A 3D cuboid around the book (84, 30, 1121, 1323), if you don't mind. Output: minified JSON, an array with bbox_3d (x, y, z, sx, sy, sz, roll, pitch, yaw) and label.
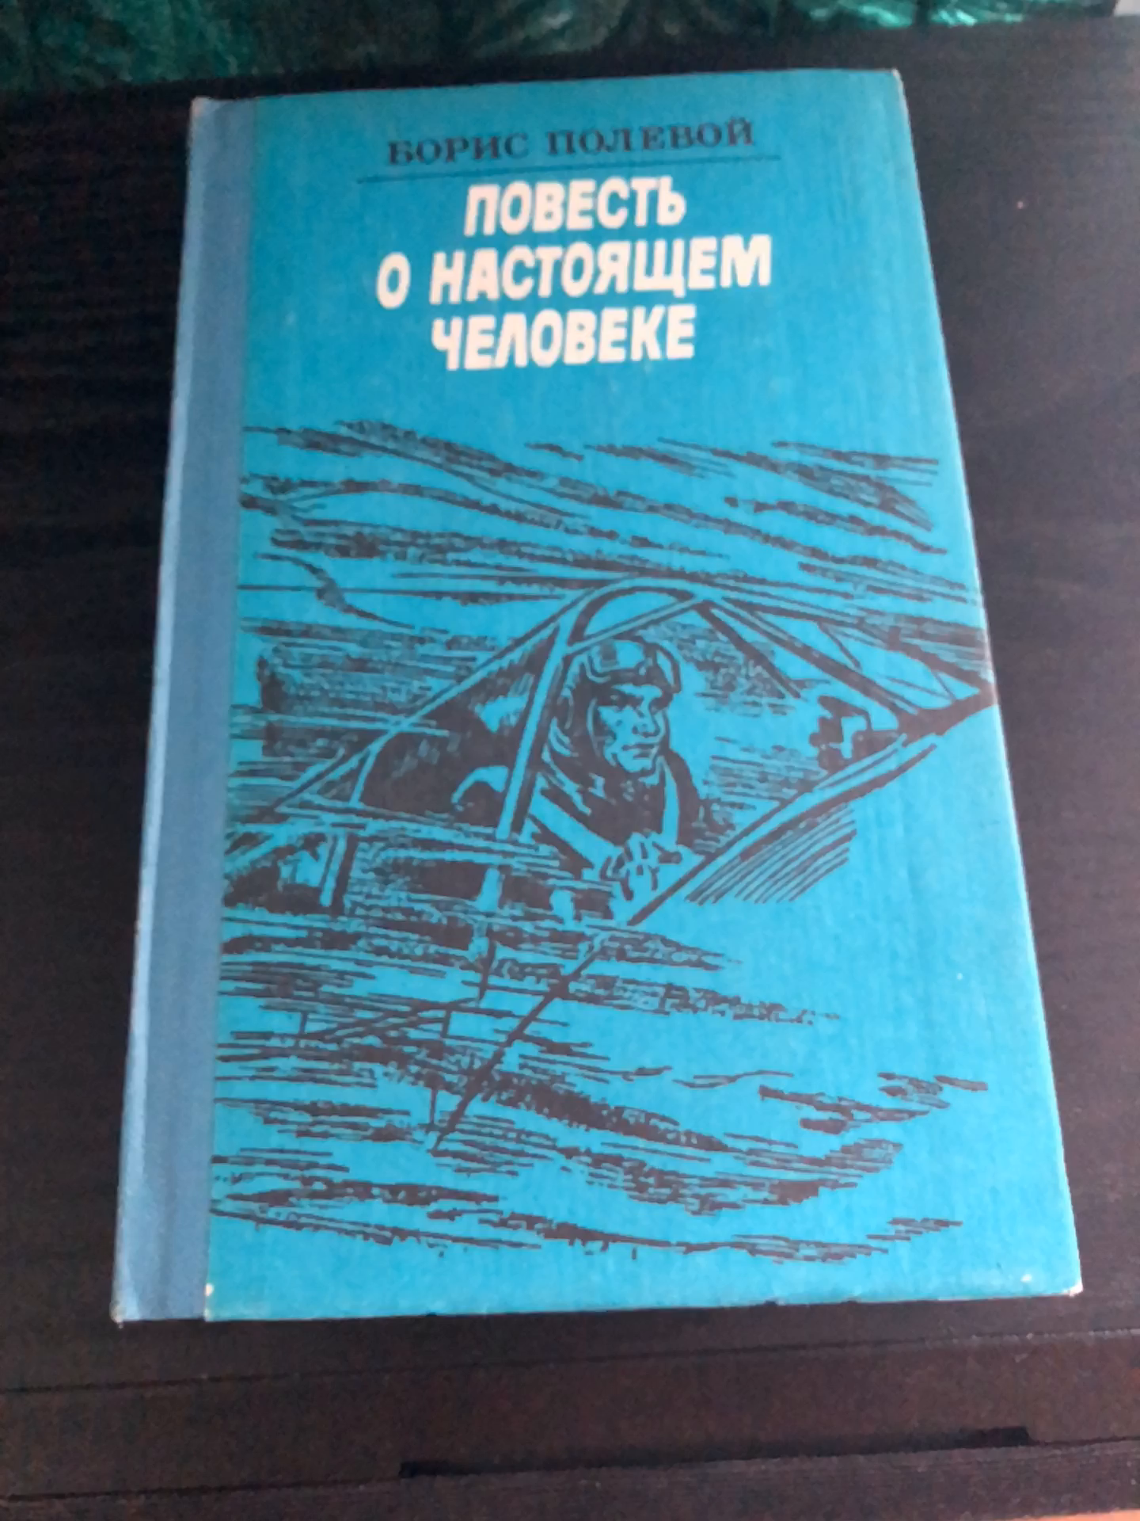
[{"bbox_3d":[0.000,-0.023,0.192,0.123,0.020,0.191,-3,72,1],"label":"book"}]
